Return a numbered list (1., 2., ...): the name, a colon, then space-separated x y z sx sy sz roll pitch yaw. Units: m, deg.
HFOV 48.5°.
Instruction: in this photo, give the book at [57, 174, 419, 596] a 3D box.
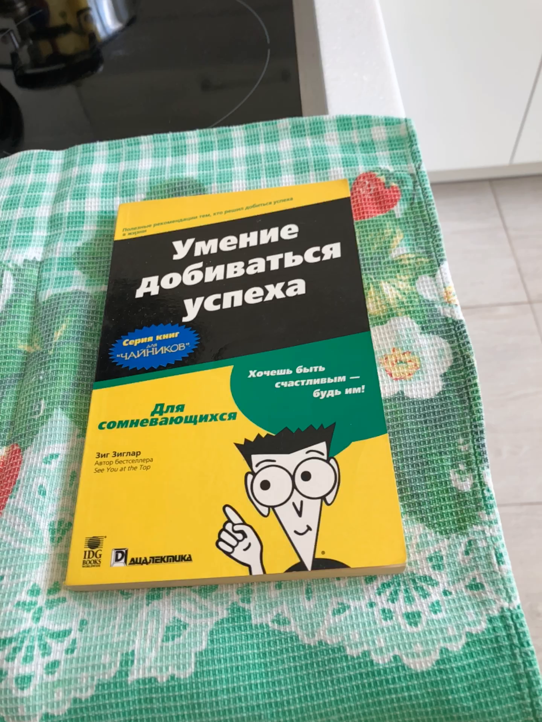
1. book: -0.013 -0.003 0.239 0.113 0.017 0.173 -6 57 5
